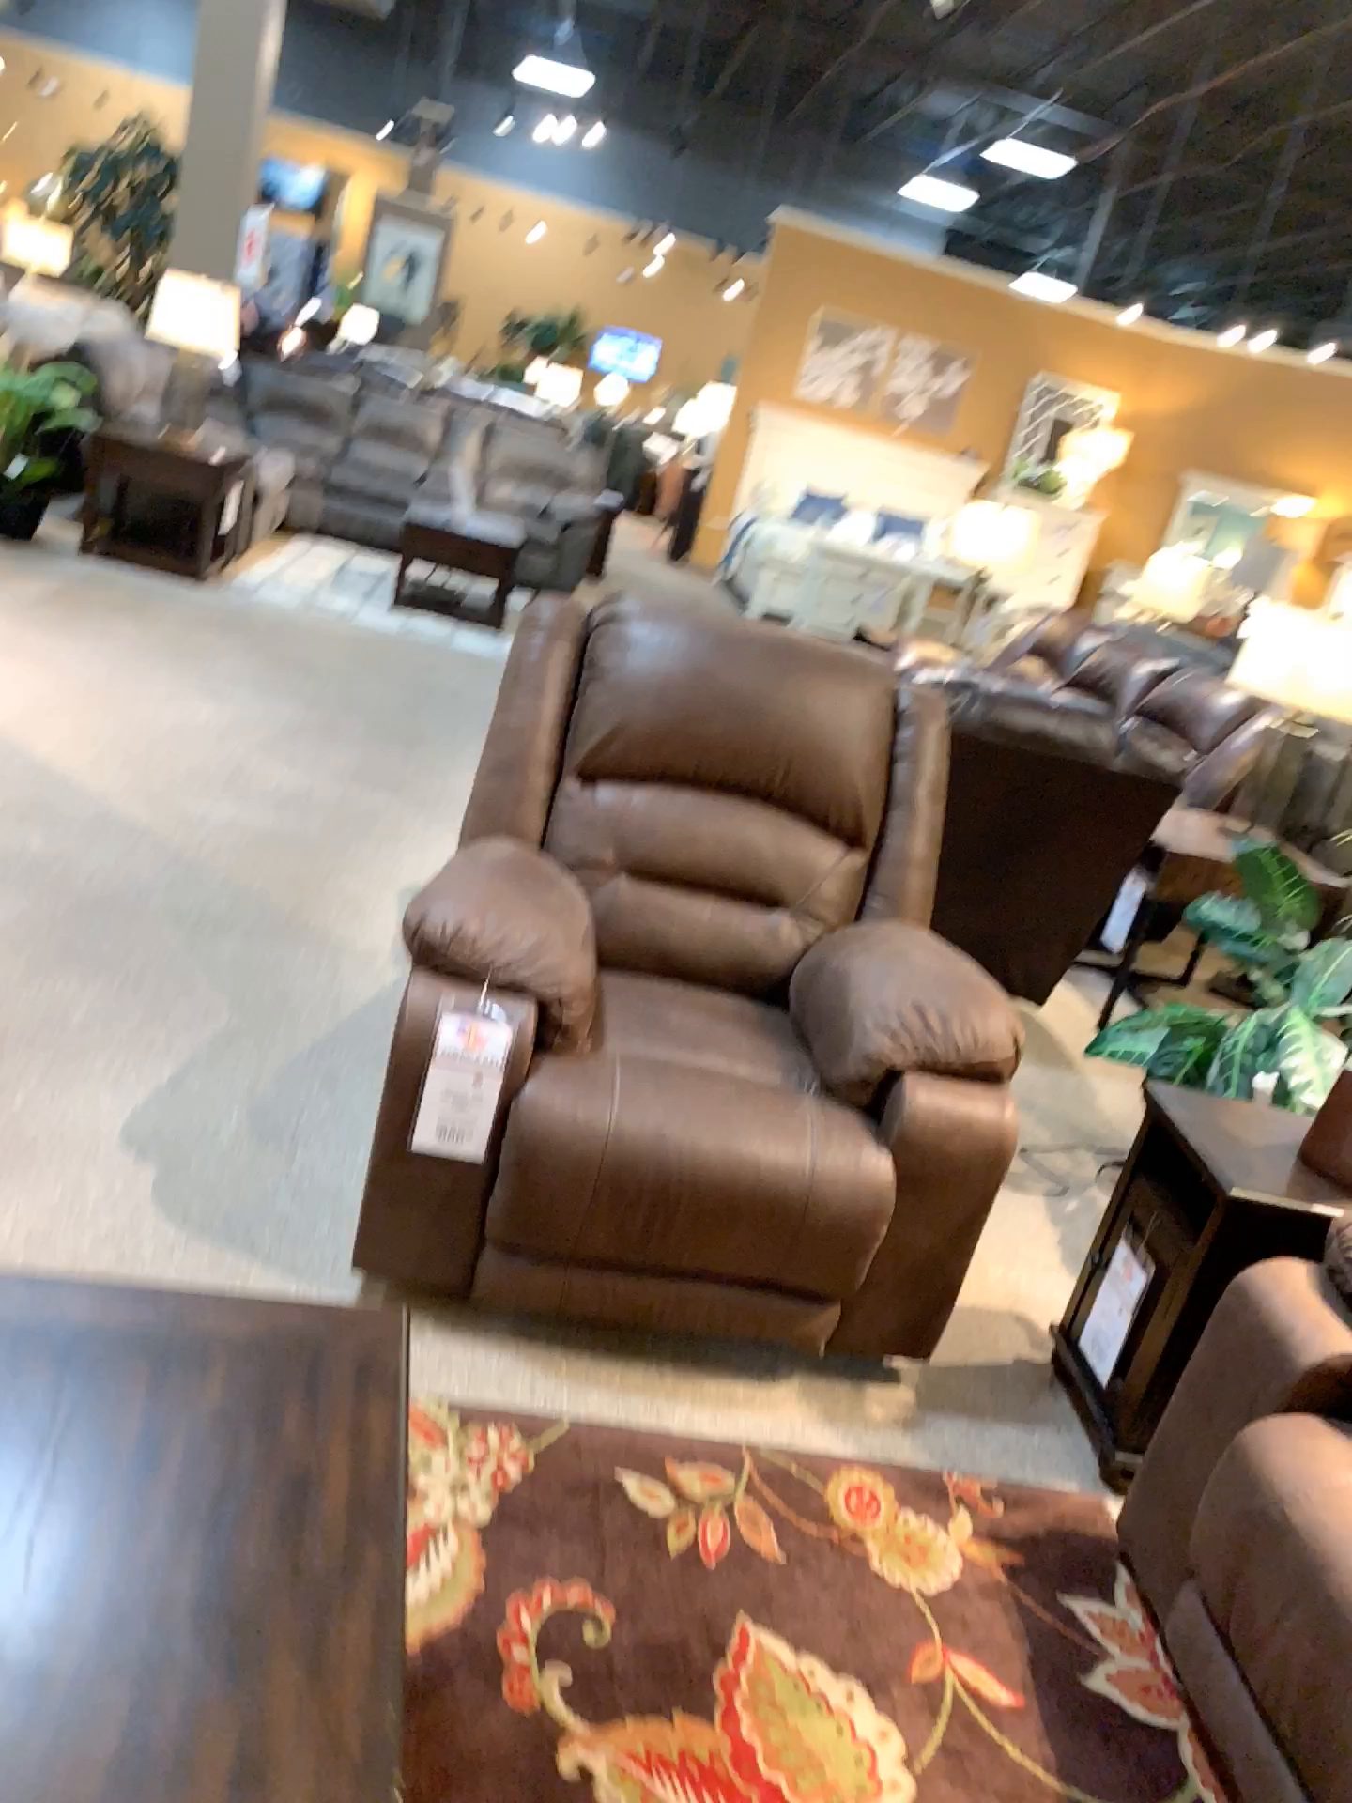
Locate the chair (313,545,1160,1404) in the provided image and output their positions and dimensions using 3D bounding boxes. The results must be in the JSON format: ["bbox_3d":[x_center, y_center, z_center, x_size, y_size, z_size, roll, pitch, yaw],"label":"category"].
[{"bbox_3d":[0.025,0.052,2.501,1.000,1.028,1.069,12,19,-8],"label":"chair"}]
